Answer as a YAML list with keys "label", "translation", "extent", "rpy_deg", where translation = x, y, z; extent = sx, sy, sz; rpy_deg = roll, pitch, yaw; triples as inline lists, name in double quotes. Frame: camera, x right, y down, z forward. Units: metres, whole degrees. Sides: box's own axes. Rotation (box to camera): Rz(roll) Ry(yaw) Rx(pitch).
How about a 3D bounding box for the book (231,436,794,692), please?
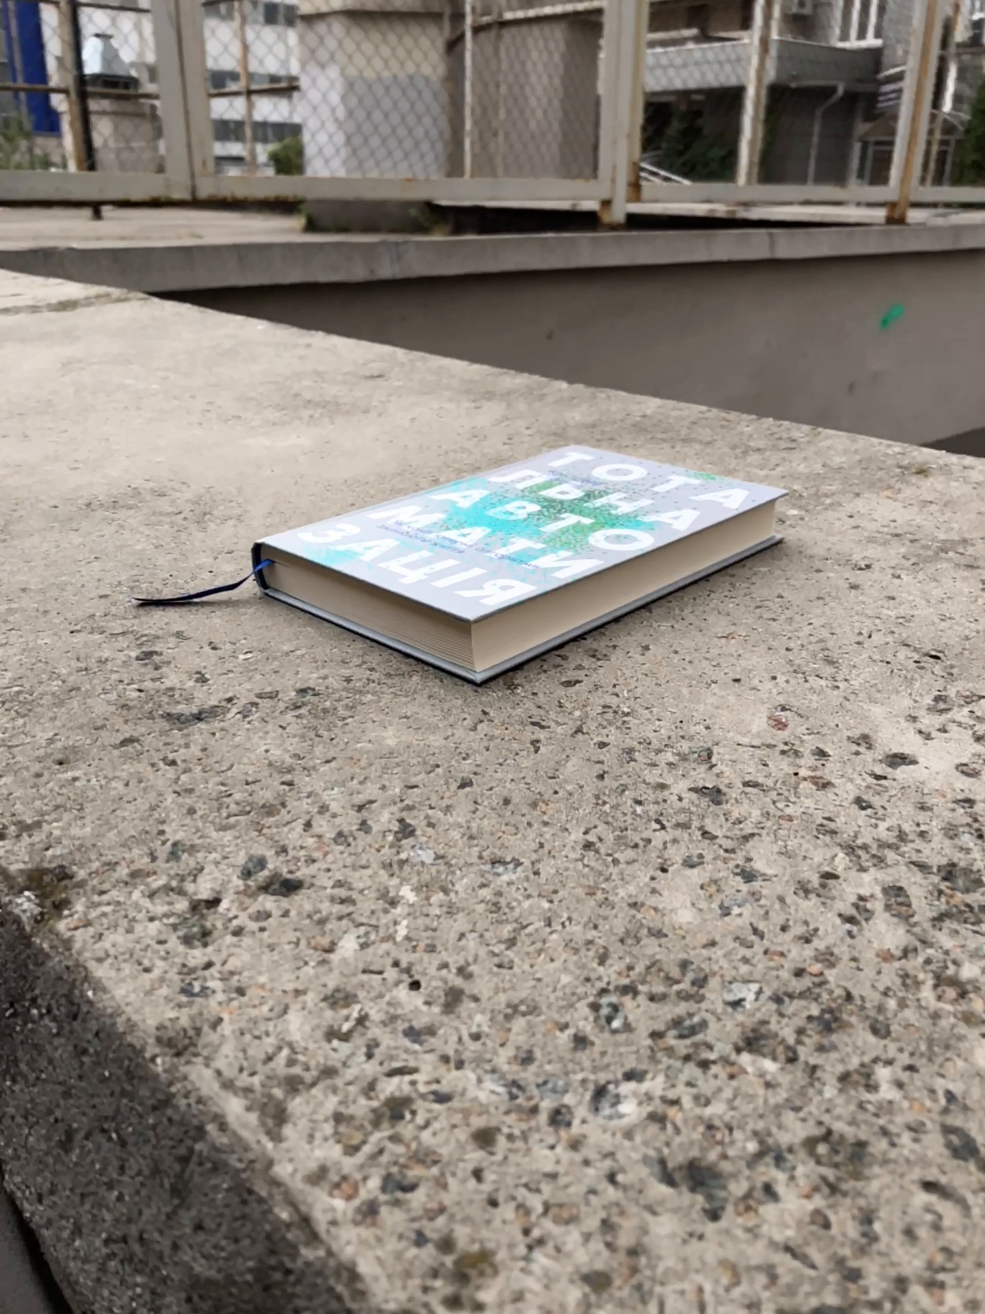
- label: "book"
  translation: [0.015, -0.058, 0.517]
  extent: [0.156, 0.030, 0.222]
  rpy_deg: [22, 34, 40]
